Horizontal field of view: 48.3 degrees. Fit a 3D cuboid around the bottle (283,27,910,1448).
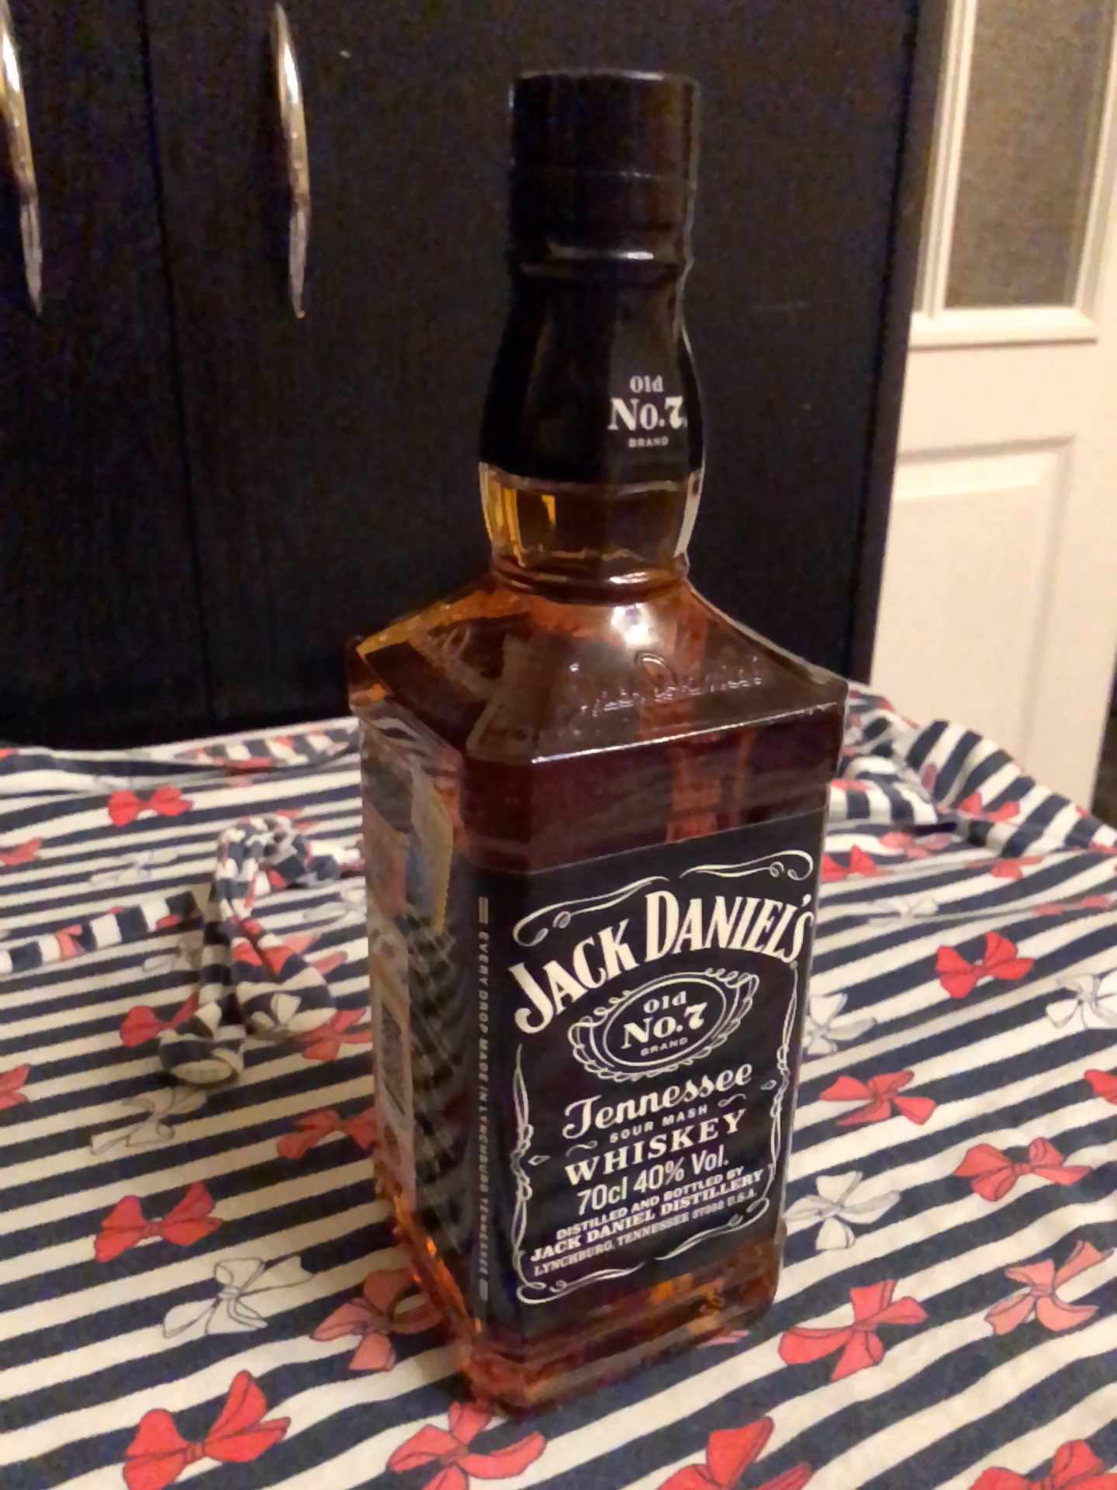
[{"bbox_3d":[0.003,0.006,0.246,0.074,0.246,0.073,0,22,0],"label":"bottle"}]
